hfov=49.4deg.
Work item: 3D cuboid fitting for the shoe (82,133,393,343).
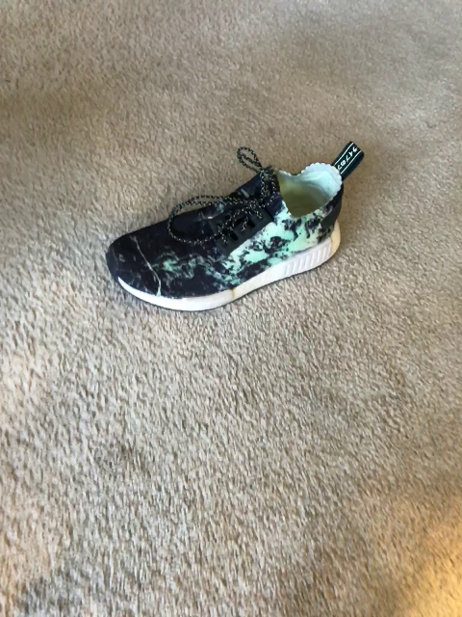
[{"bbox_3d":[0.005,-0.082,0.544,0.287,0.100,0.131,-17,66,-19],"label":"shoe"}]
